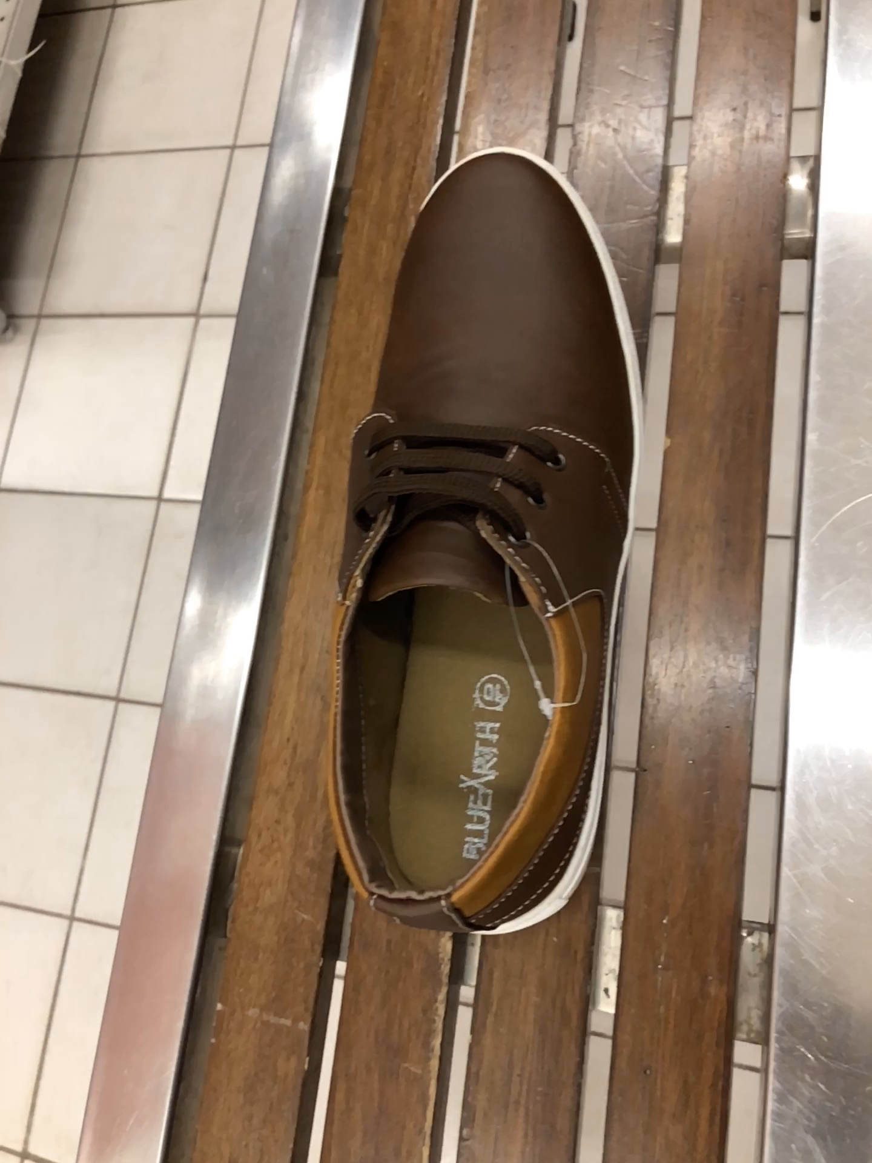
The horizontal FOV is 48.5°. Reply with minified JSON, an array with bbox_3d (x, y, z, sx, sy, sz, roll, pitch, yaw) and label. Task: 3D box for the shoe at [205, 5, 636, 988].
[{"bbox_3d":[0.007,-0.035,0.344,0.100,0.080,0.310,2,77,18],"label":"shoe"}]
